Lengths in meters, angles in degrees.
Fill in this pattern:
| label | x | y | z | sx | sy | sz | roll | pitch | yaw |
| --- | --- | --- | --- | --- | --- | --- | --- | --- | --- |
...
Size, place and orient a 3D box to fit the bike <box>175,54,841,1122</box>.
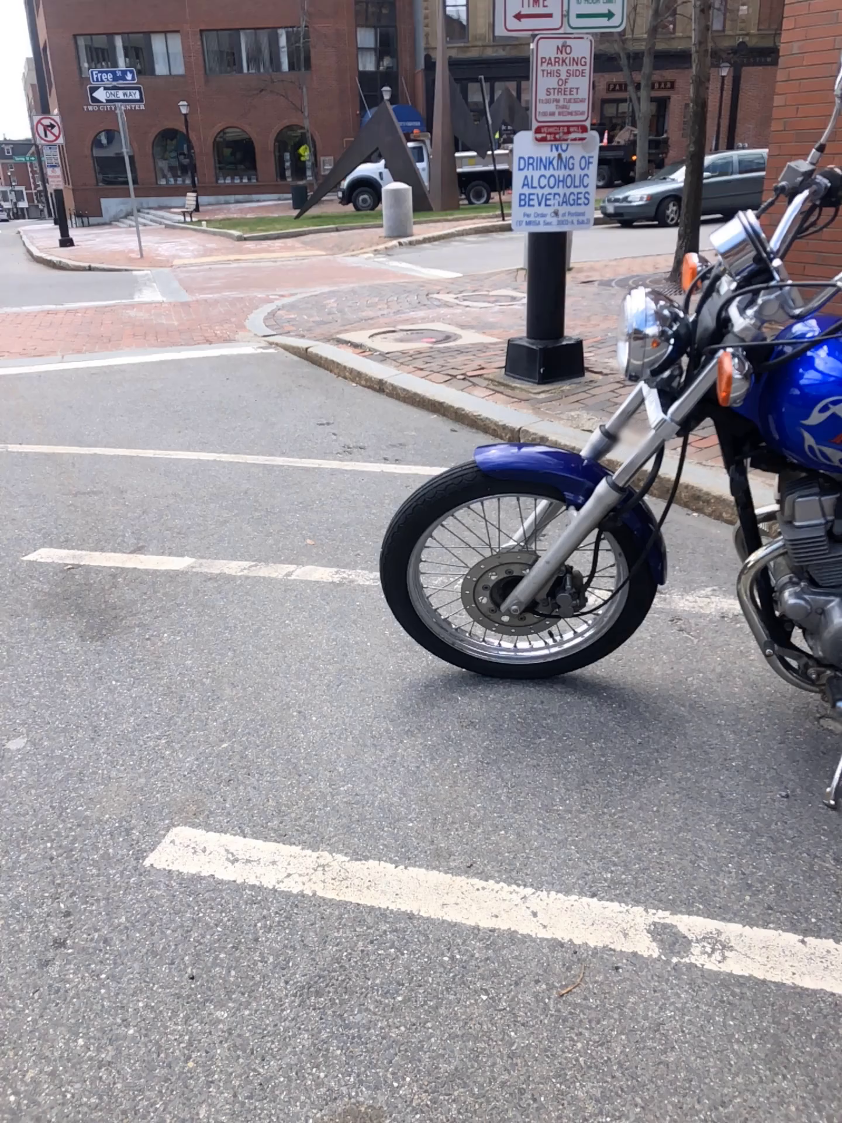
| label | x | y | z | sx | sy | sz | roll | pitch | yaw |
| --- | --- | --- | --- | --- | --- | --- | --- | --- | --- |
| bike | 0.897 | -0.056 | 1.477 | 2.024 | 1.179 | 0.930 | 5 | 24 | 7 |
